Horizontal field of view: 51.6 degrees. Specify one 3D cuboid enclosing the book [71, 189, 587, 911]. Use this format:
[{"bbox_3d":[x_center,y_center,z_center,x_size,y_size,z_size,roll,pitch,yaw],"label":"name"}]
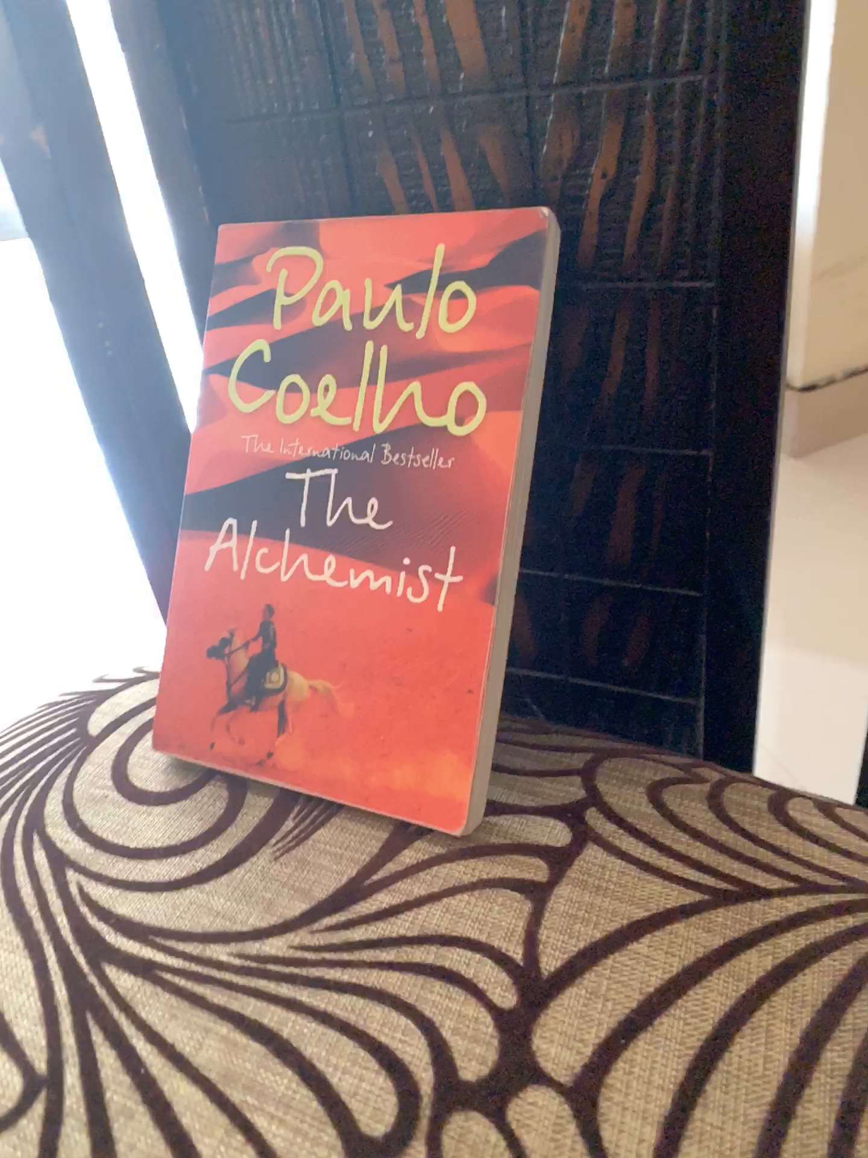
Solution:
[{"bbox_3d":[-0.034,-0.016,0.285,0.140,0.200,0.030,5,-6,21],"label":"book"}]
